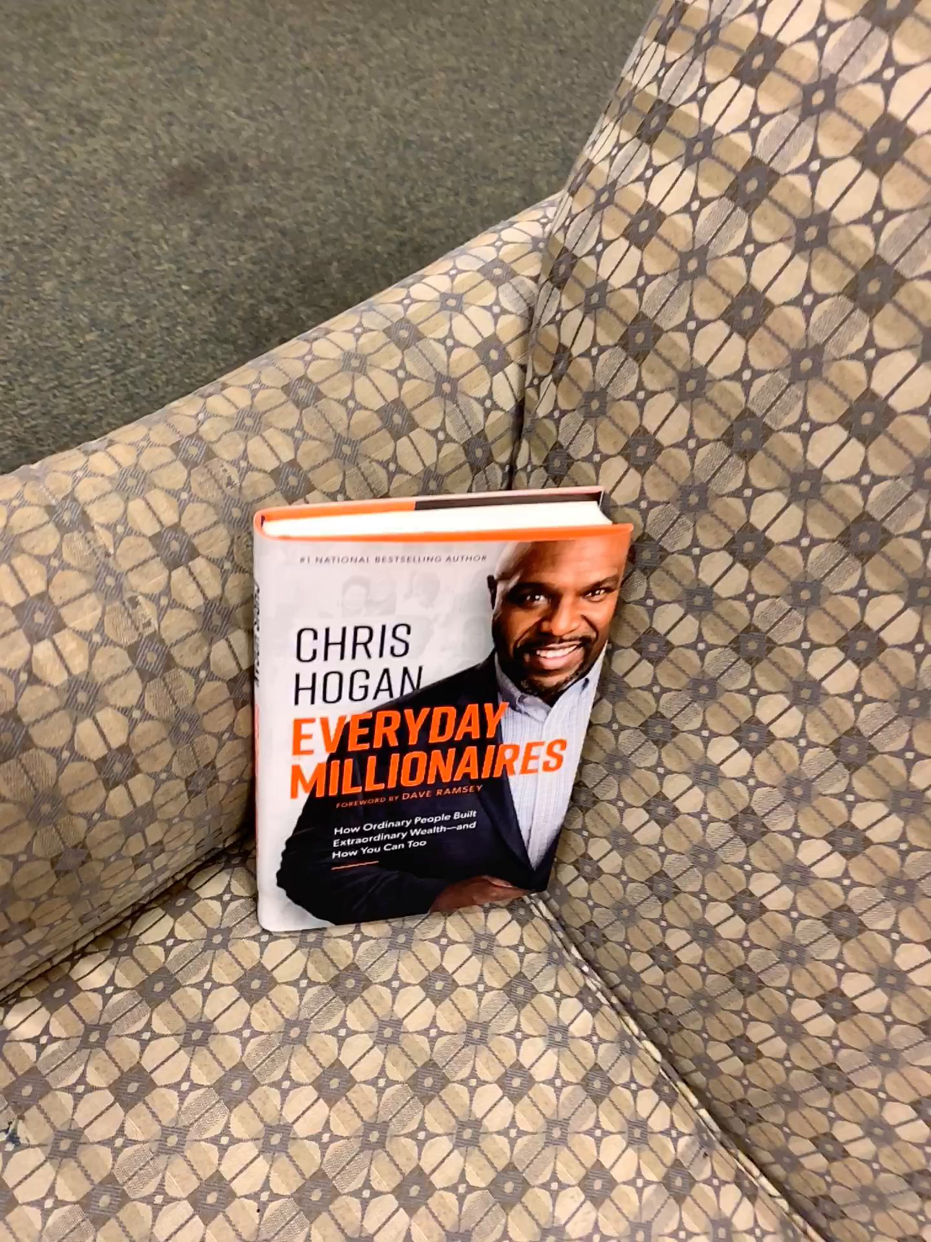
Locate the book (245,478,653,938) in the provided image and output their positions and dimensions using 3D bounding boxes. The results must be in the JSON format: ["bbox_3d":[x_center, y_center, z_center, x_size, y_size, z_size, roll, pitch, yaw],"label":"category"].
[{"bbox_3d":[-0.020,0.050,0.454,0.160,0.245,0.038,-2,37,-14],"label":"book"}]
